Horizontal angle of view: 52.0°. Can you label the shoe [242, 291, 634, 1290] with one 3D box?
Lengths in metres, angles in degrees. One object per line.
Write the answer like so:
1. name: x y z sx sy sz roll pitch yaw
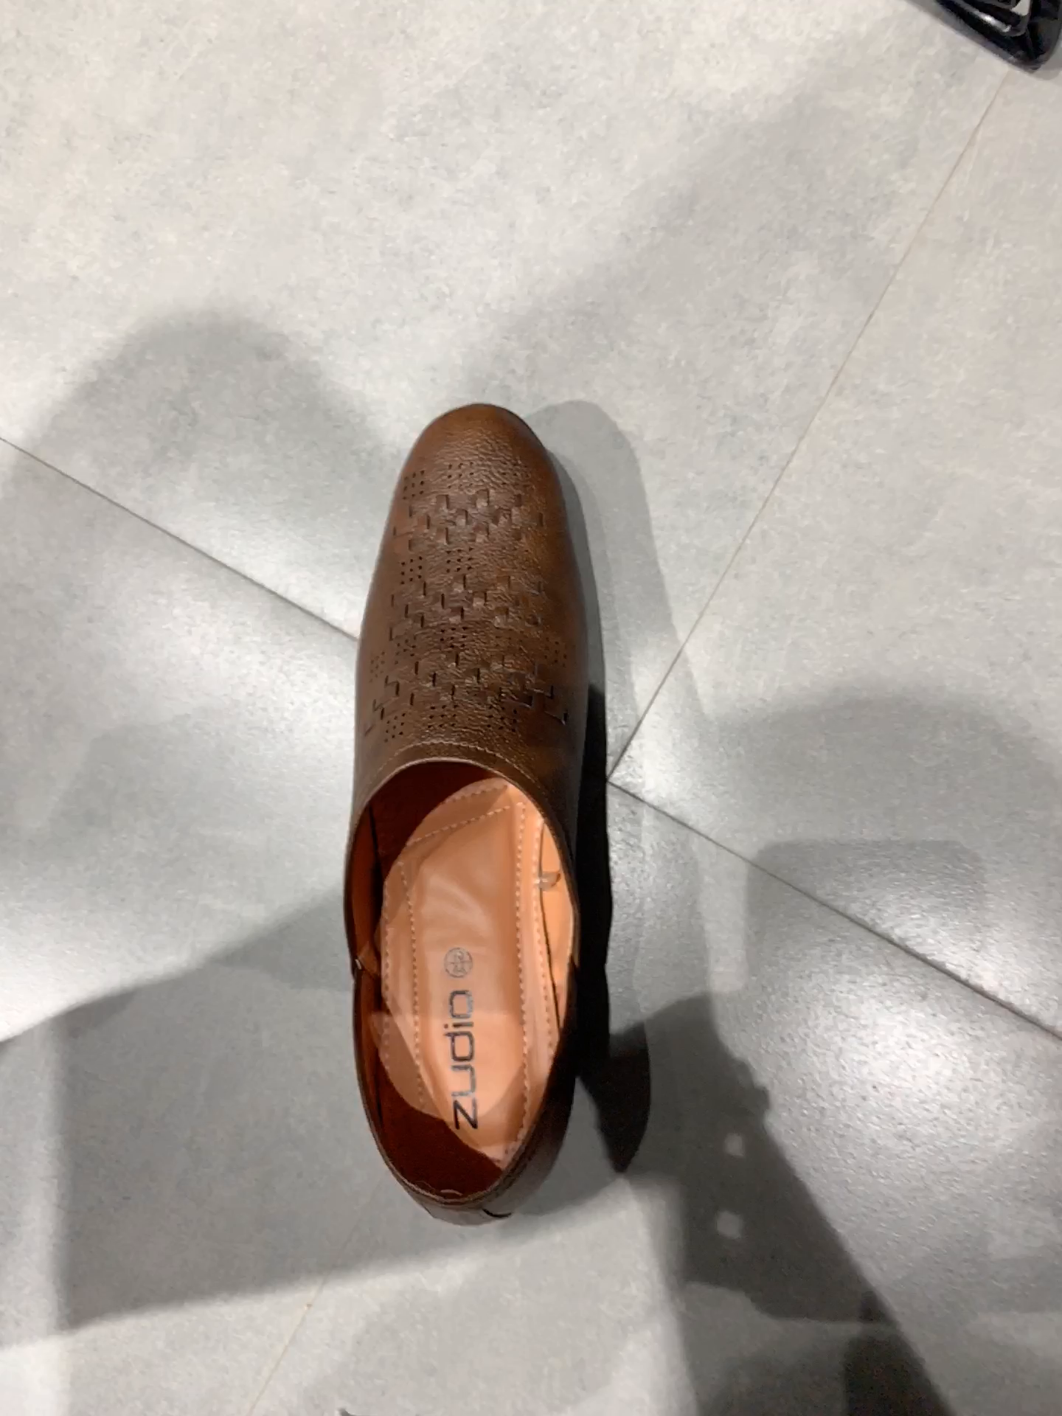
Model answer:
1. shoe: -0.027 0.026 0.377 0.100 0.110 0.290 -4 82 8
